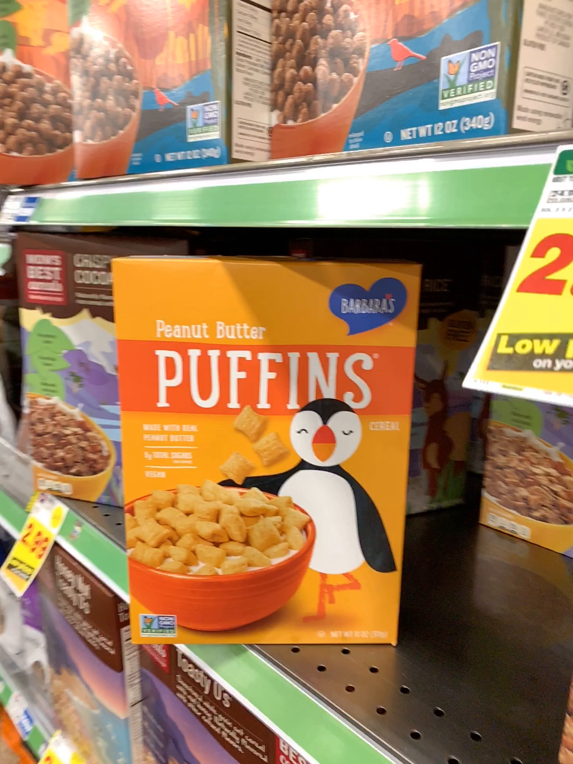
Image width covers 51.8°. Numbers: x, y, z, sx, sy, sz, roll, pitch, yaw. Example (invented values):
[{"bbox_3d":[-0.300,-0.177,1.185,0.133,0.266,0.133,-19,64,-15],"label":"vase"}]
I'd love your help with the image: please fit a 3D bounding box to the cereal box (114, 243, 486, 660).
[{"bbox_3d":[0.004,0.050,0.409,0.220,0.279,0.060,1,13,-2],"label":"cereal box"}]
